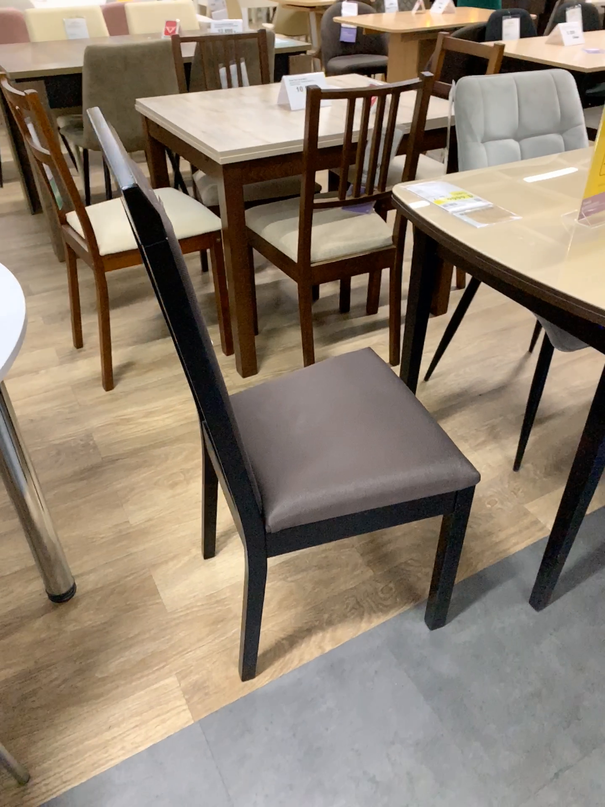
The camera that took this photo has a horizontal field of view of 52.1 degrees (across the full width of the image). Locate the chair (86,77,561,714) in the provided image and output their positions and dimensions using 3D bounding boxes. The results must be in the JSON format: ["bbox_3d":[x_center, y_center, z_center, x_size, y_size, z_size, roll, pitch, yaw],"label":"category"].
[{"bbox_3d":[-0.002,0.023,1.122,0.500,0.994,0.442,-13,39,-15],"label":"chair"}]
